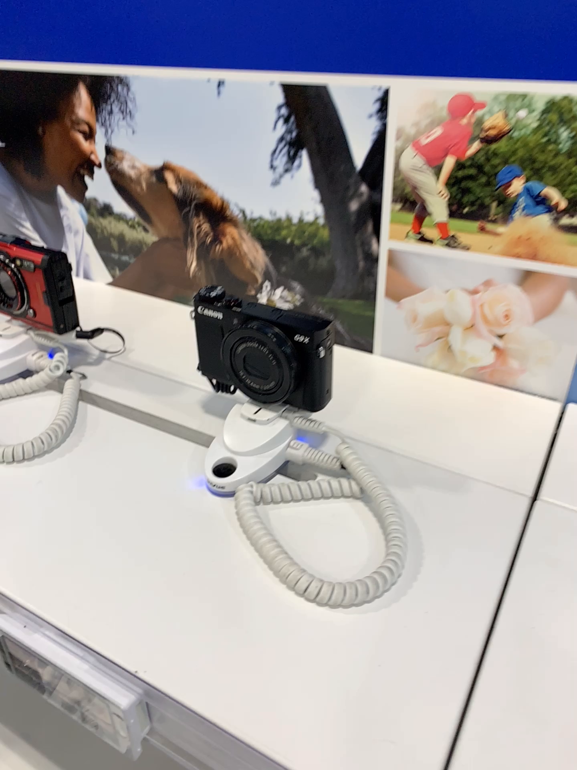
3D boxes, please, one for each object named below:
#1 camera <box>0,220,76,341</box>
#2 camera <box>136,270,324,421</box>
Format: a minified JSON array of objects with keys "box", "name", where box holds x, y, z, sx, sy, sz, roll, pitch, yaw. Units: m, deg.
[{"box":[-0.244,-0.088,0.485,0.130,0.060,0.050,17,36,25],"name":"camera"},{"box":[-0.038,-0.029,0.396,0.110,0.060,0.050,17,36,25],"name":"camera"}]
